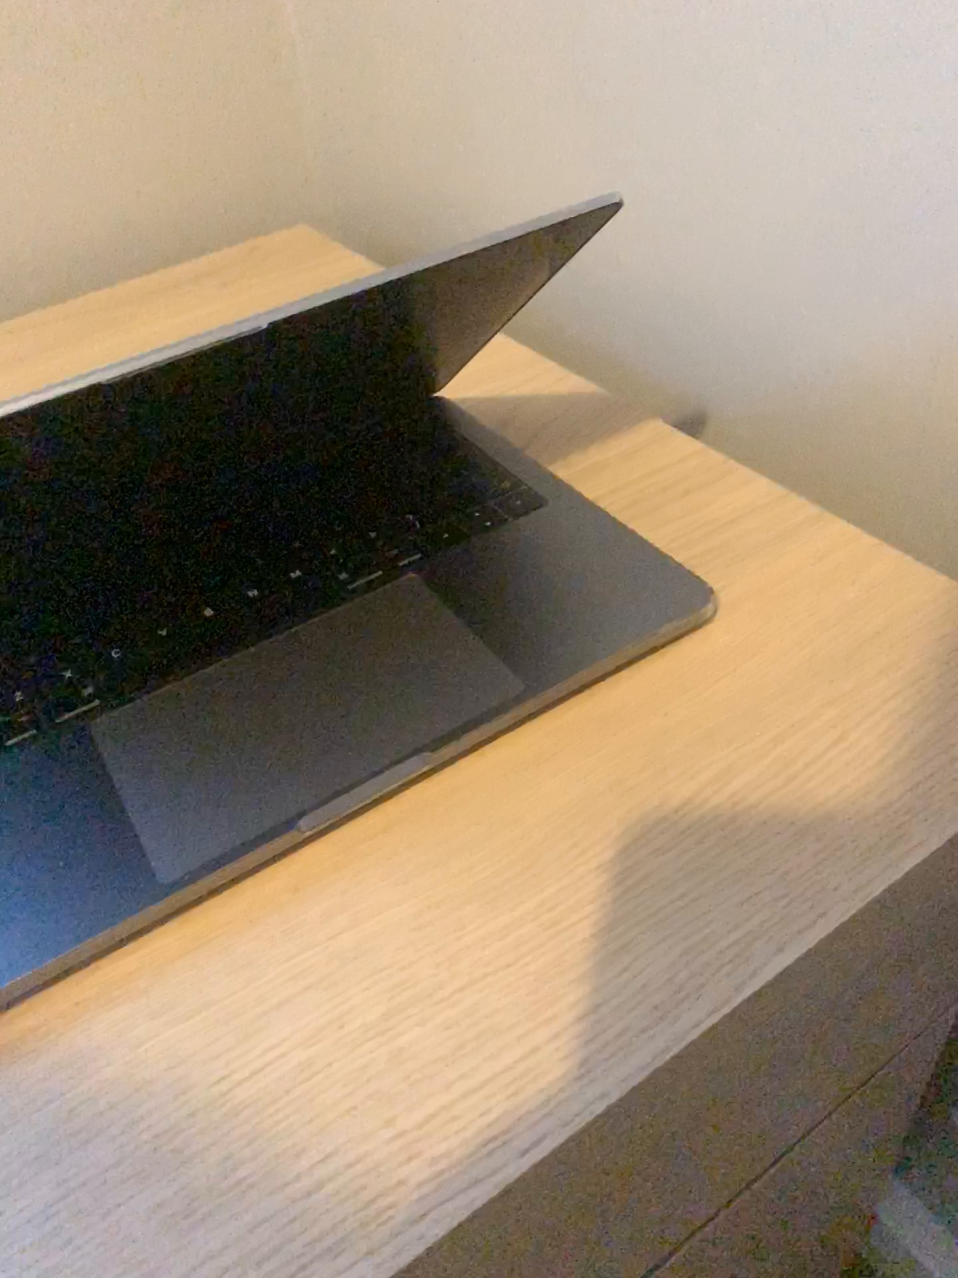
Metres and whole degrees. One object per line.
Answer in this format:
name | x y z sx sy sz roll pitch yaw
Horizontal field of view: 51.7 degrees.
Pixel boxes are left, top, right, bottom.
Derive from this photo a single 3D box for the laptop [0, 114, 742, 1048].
laptop | -0.095 -0.056 0.335 0.290 0.130 0.205 -27 43 -19
